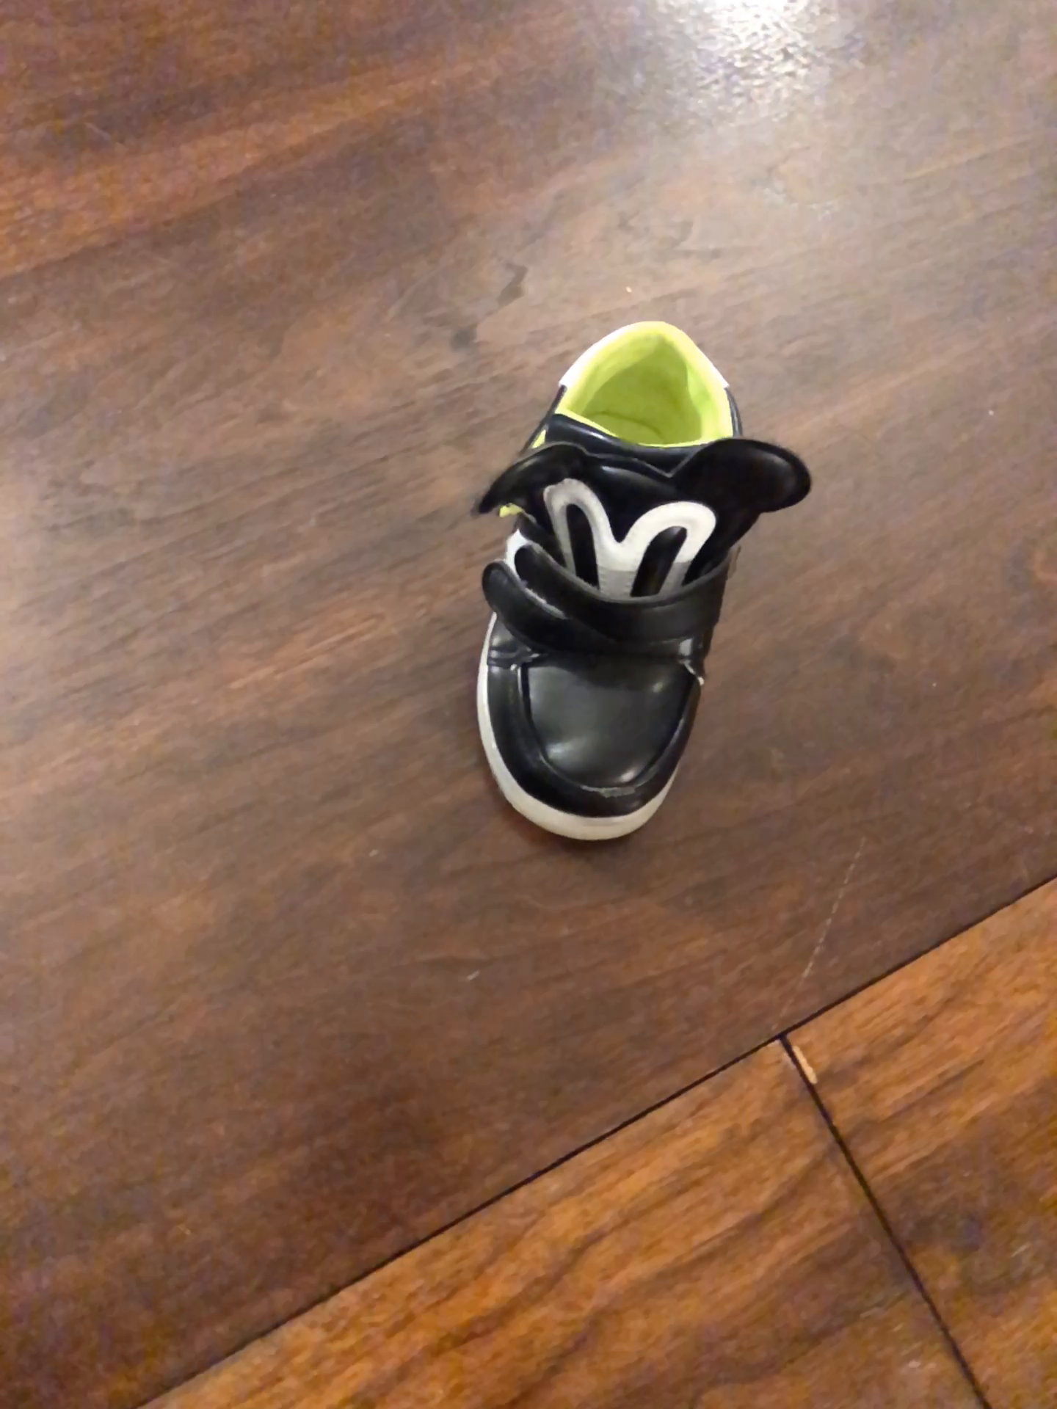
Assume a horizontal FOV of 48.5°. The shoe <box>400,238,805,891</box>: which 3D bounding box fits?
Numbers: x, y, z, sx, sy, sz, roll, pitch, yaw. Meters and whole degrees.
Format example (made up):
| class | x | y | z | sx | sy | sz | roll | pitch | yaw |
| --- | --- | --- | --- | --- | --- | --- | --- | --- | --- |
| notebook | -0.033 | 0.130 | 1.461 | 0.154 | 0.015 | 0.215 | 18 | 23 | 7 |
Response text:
| class | x | y | z | sx | sy | sz | roll | pitch | yaw |
| --- | --- | --- | --- | --- | --- | --- | --- | --- | --- |
| shoe | 0.018 | -0.033 | 0.342 | 0.090 | 0.100 | 0.150 | 8 | 72 | -4 |
